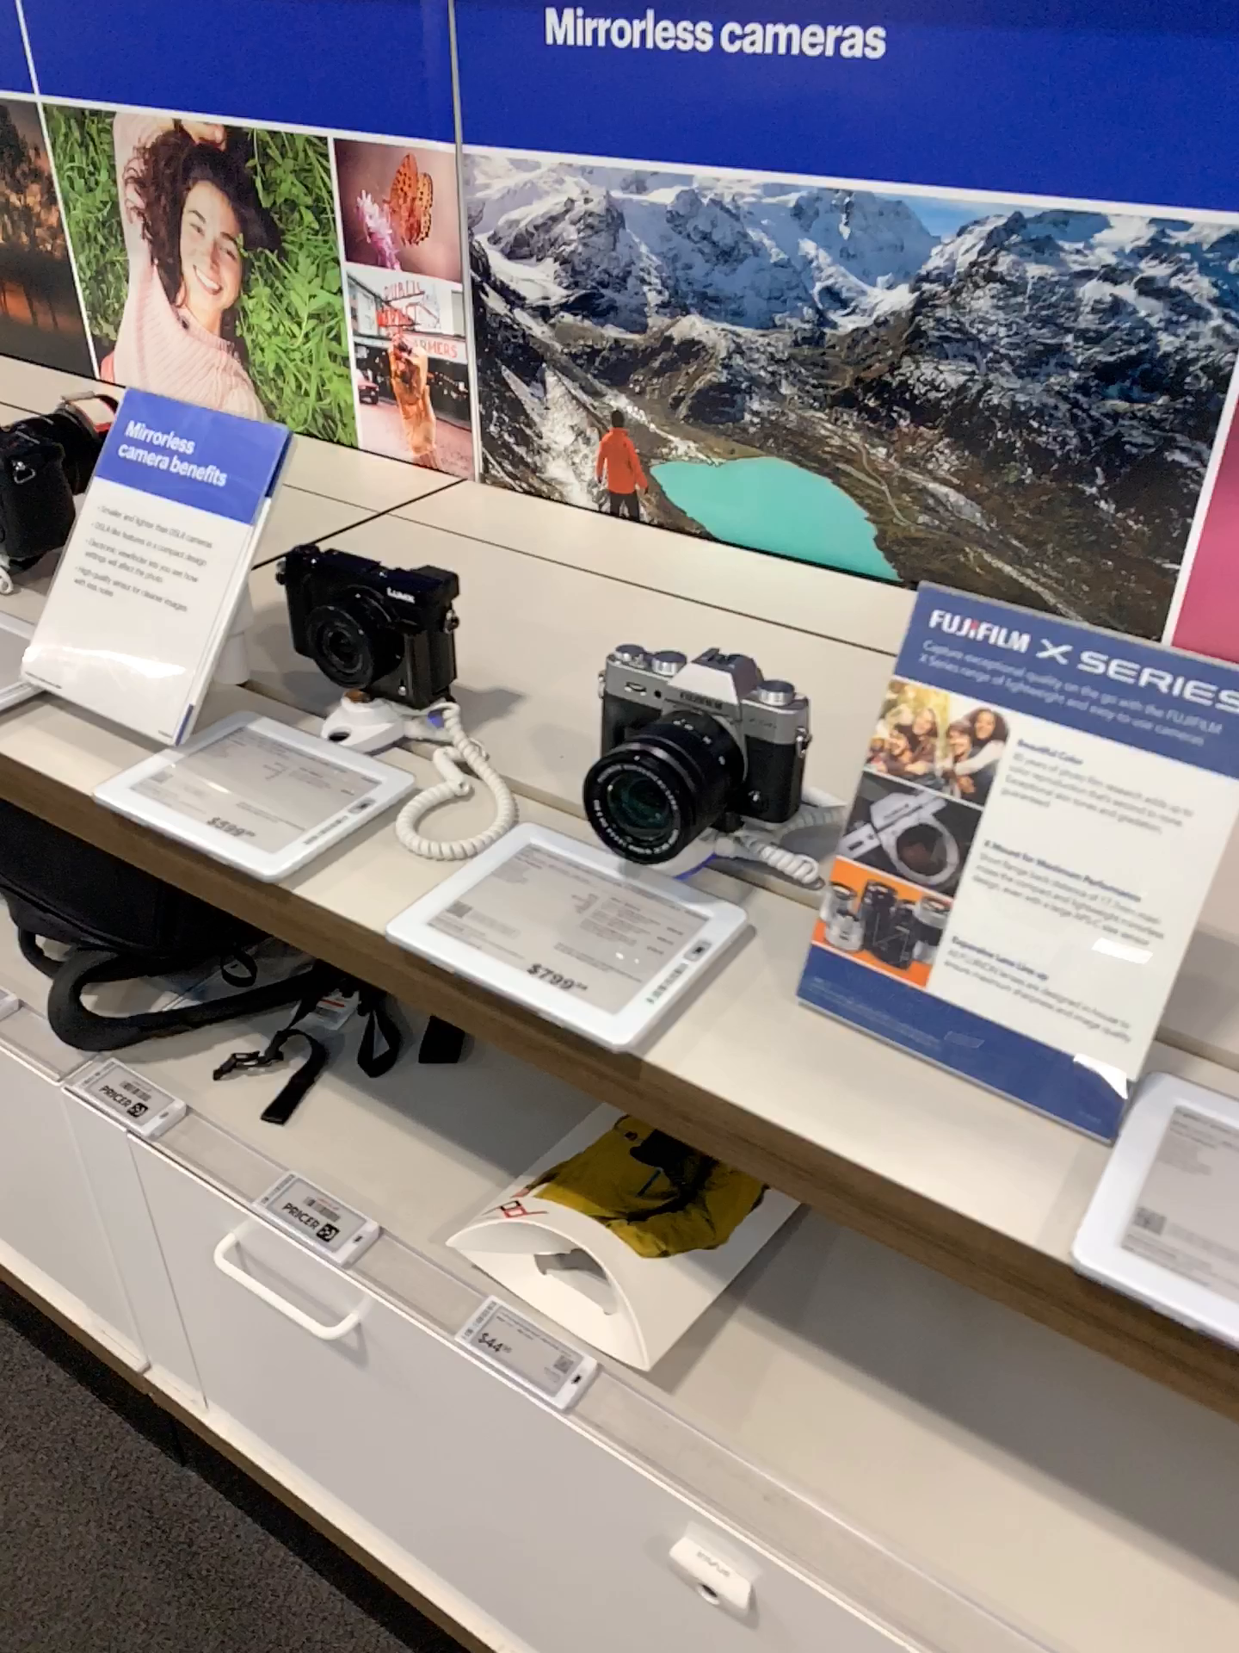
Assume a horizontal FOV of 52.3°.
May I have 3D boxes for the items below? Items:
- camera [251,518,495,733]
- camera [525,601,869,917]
[{"bbox_3d":[-0.145,-0.123,0.754,0.120,0.079,0.070,21,40,27],"label":"camera"},{"bbox_3d":[0.039,-0.039,0.624,0.120,0.079,0.120,20,39,26],"label":"camera"}]
